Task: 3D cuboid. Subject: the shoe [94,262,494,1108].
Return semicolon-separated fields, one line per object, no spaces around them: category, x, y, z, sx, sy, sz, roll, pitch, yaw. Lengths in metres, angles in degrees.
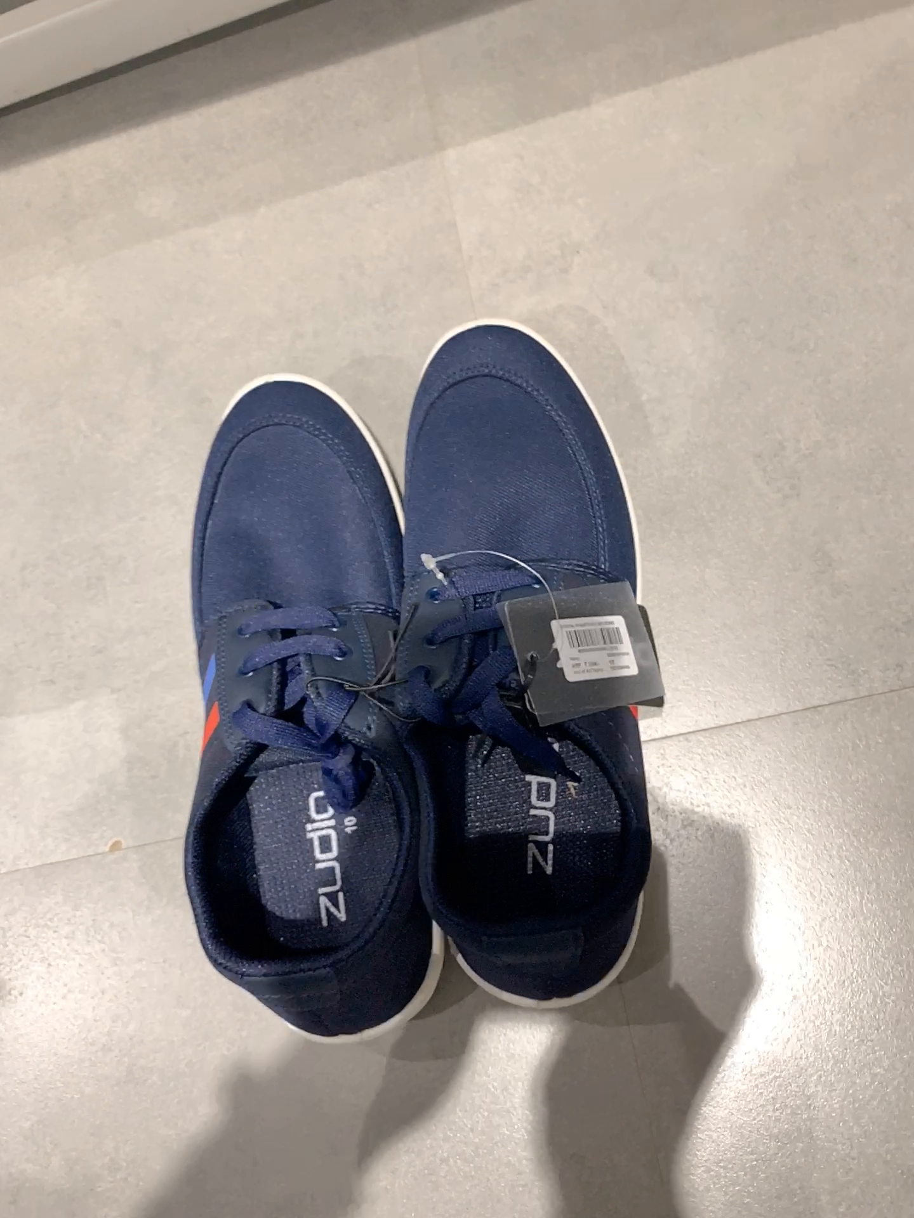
shoe;-0.070;0.027;0.406;0.120;0.100;0.310;-9;76;8

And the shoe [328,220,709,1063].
shoe;0.023;0.011;0.400;0.120;0.100;0.310;-6;77;9
